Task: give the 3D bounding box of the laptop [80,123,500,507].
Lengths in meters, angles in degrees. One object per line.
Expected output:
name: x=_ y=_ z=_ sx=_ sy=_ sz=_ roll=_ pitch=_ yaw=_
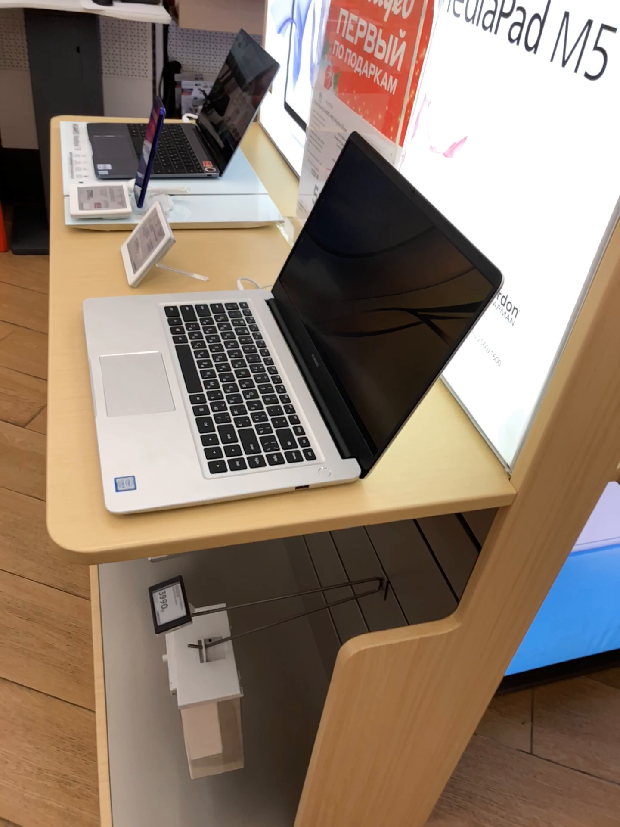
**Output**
laptop: x=-0.054 y=-0.125 z=0.688 sx=0.305 sy=0.204 sz=0.342 roll=-6 pitch=41 yaw=-18
